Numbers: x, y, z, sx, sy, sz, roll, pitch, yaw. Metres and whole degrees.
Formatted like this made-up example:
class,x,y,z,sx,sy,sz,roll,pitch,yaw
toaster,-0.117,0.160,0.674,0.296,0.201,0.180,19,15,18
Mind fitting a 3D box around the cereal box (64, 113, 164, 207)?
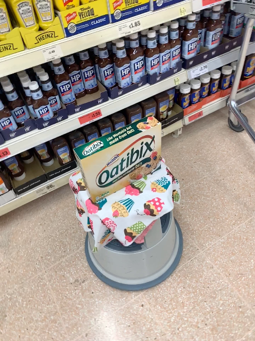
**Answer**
class,x,y,z,sx,sy,sz,roll,pitch,yaw
cereal box,-0.024,-0.031,0.765,0.281,0.168,0.060,-28,50,-18
